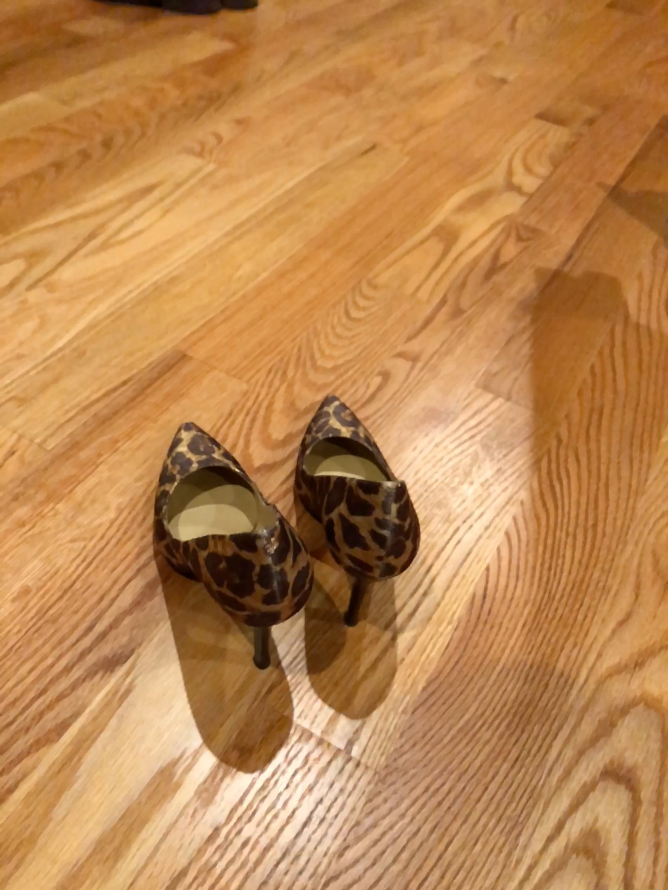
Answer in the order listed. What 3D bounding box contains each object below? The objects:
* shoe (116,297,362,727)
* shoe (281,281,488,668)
[{"bbox_3d":[-0.070,0.033,0.469,0.084,0.144,0.219,-11,48,-18],"label":"shoe"},{"bbox_3d":[0.018,0.012,0.502,0.084,0.144,0.219,-1,46,-9],"label":"shoe"}]
